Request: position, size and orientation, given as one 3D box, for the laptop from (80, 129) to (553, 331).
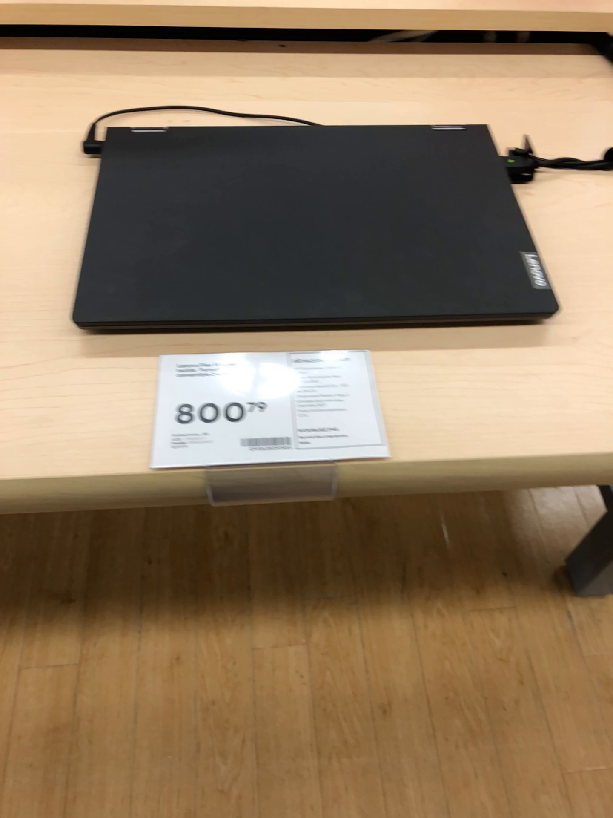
[{"bbox_3d":[0.006,-0.149,0.524,0.326,0.009,0.212,-2,56,-6],"label":"laptop"}]
